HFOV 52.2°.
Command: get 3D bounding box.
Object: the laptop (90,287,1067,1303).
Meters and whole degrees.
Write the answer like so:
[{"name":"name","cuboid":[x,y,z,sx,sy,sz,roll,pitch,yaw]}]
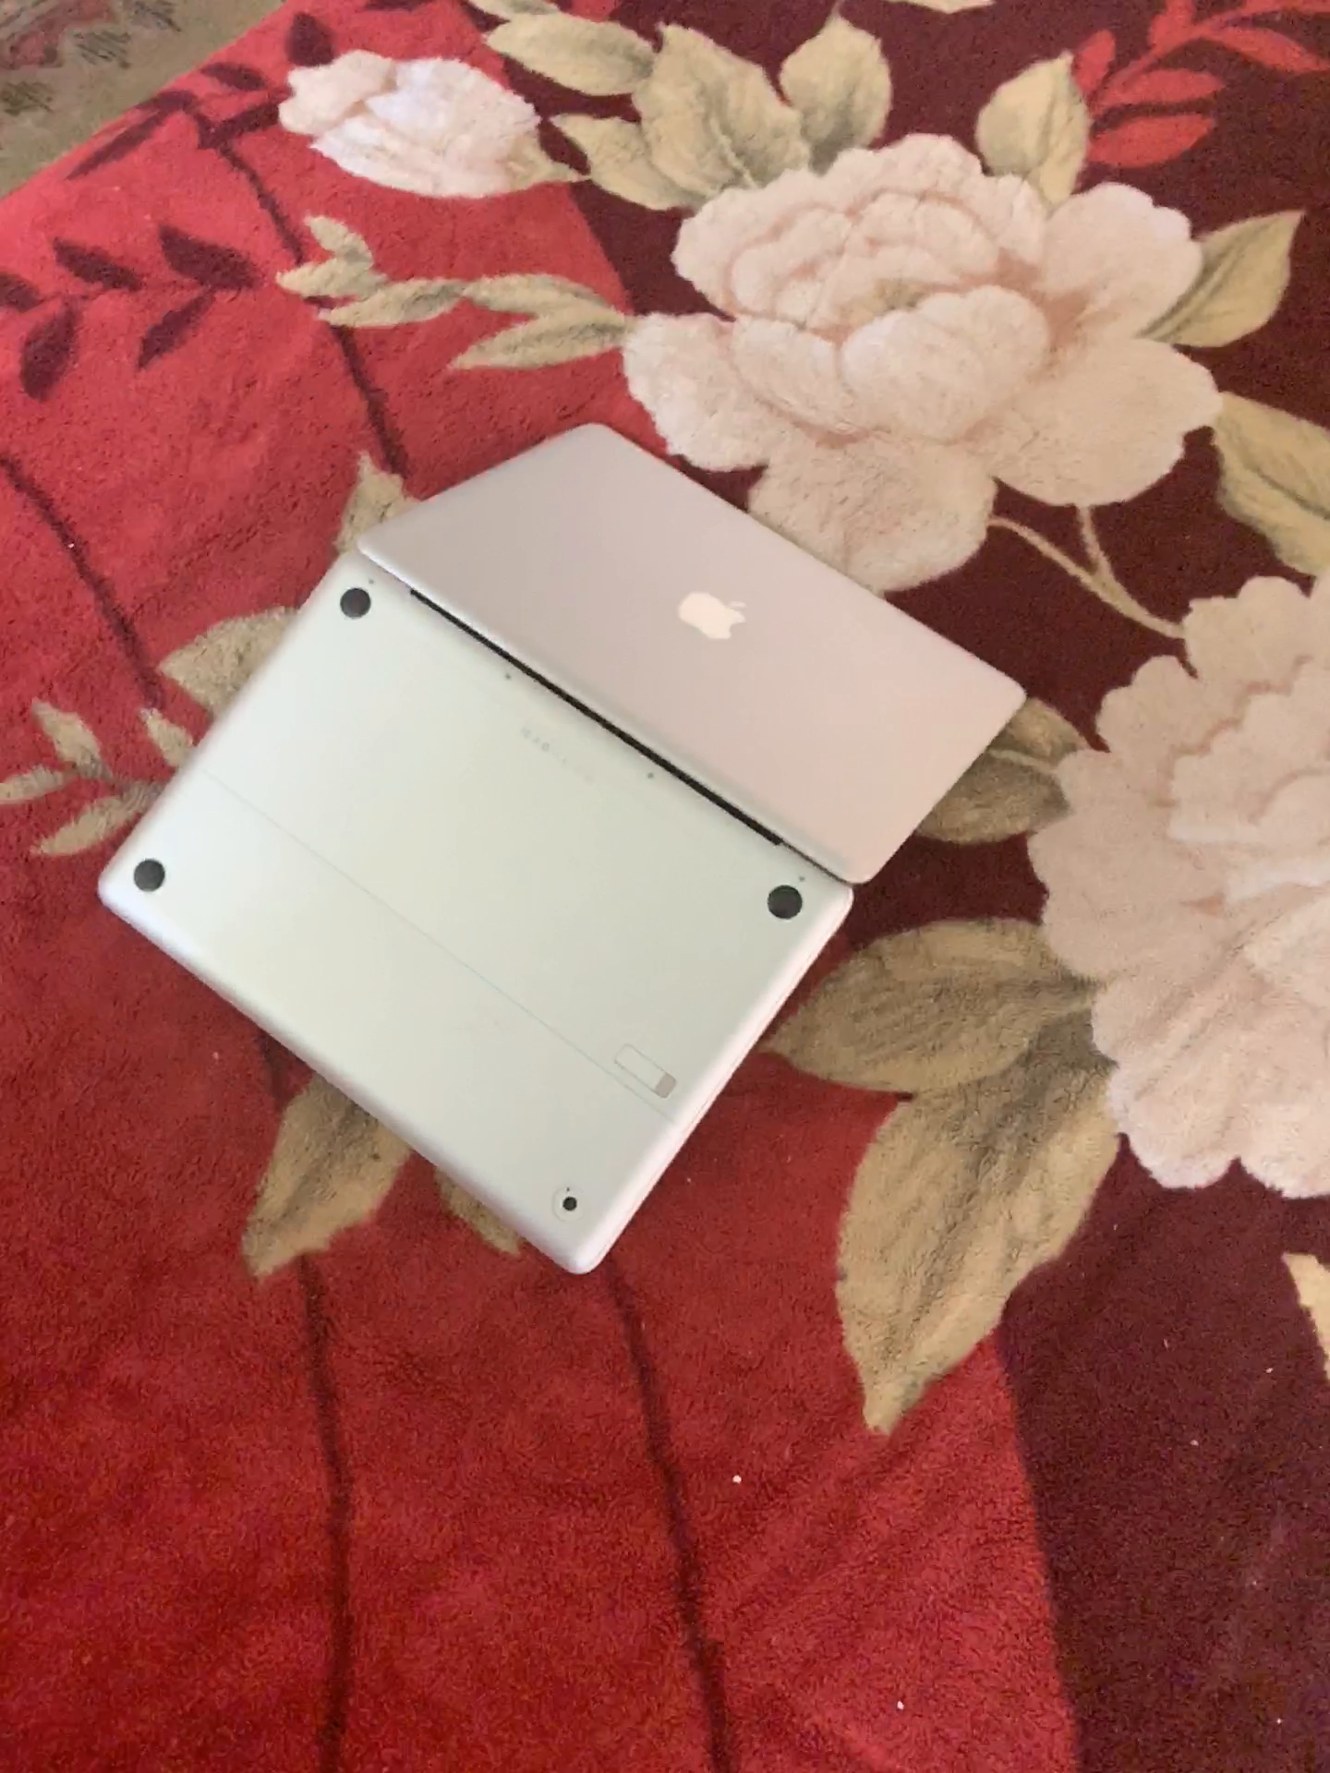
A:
[{"name":"laptop","cuboid":[-0.051,-0.050,0.703,0.316,0.078,0.390,36,86,12]}]
